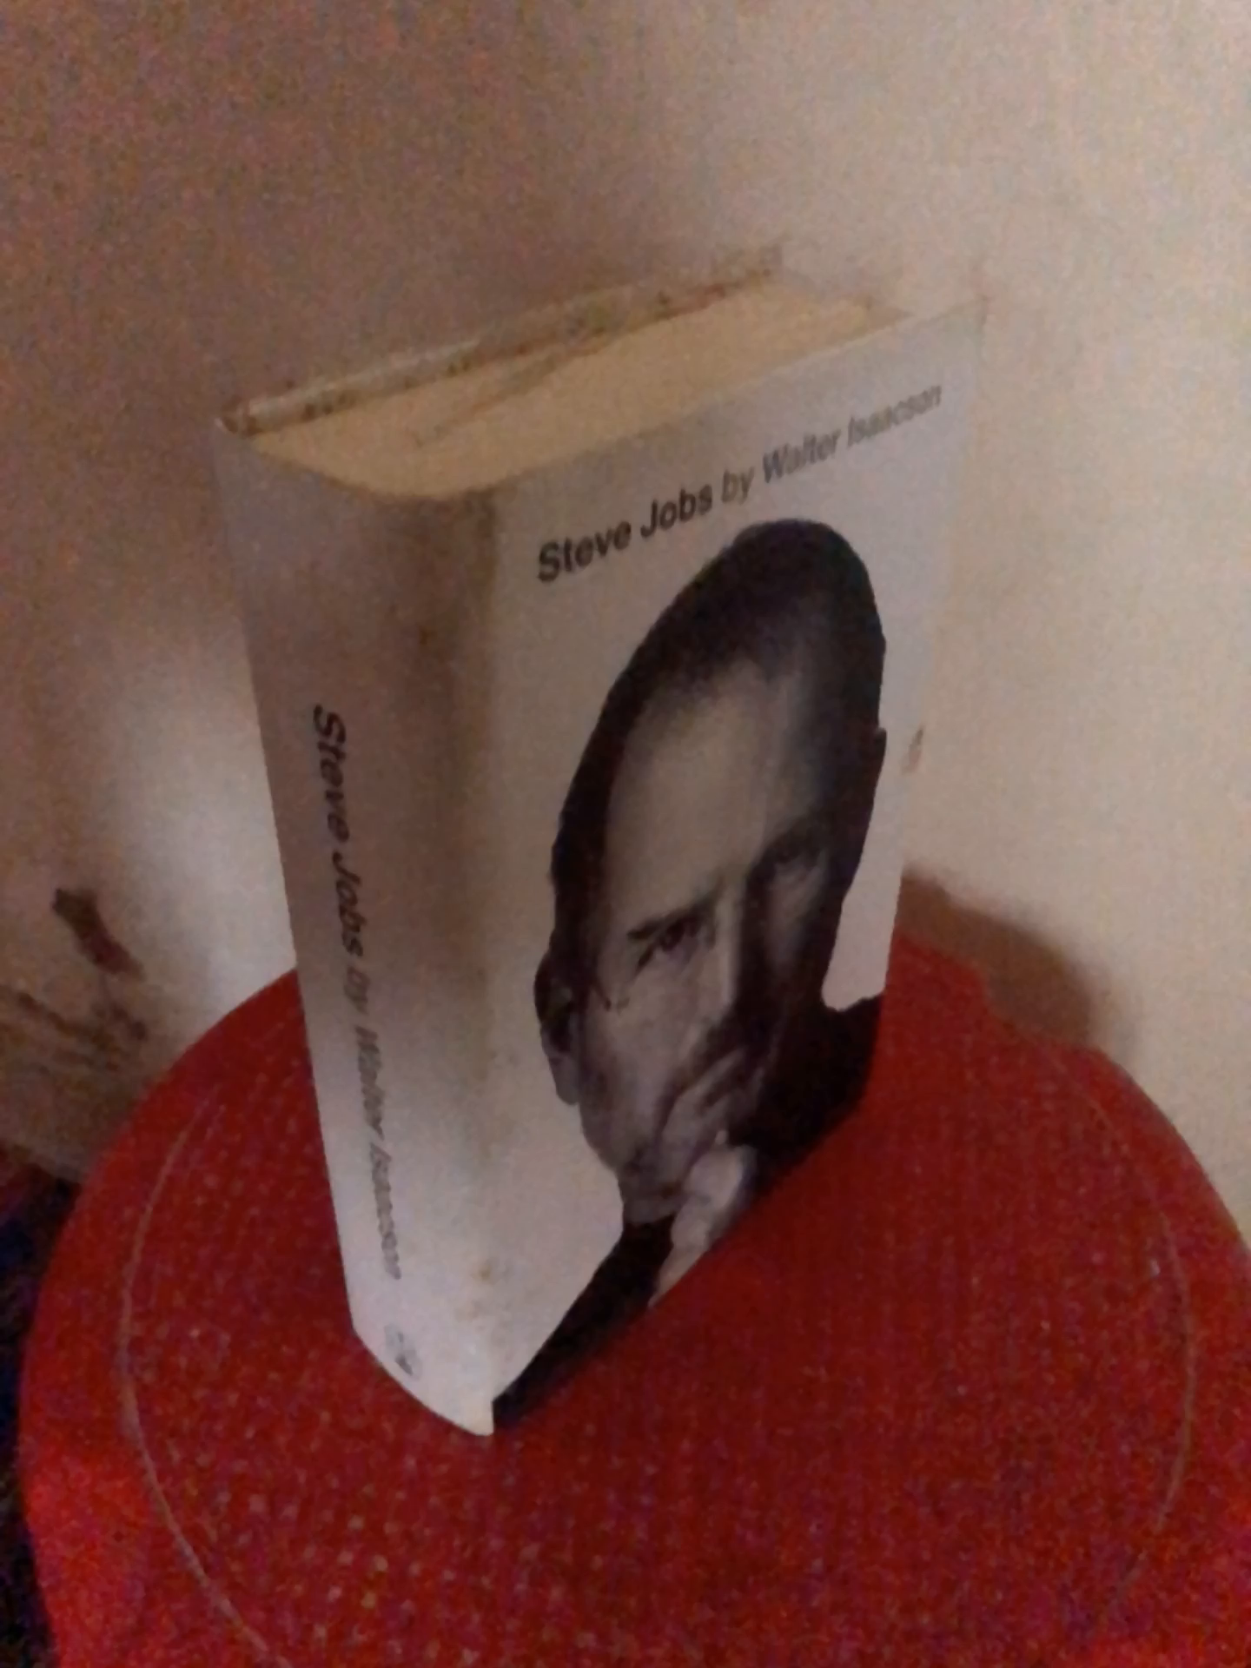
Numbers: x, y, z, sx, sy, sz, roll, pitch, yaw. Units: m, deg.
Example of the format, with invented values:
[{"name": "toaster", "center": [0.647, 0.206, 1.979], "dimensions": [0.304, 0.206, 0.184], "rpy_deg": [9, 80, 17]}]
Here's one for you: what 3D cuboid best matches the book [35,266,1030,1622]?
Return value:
[{"name": "book", "center": [-0.003, 0.021, 0.293], "dimensions": [0.060, 0.229, 0.170], "rpy_deg": [27, 43, 33]}]
